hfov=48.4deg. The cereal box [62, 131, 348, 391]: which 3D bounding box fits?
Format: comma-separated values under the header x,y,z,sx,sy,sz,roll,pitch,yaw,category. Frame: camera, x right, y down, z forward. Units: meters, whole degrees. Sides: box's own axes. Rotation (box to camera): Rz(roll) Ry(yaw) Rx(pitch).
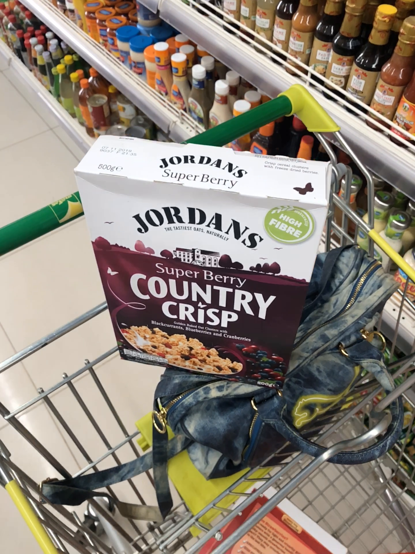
x,y,z,sx,sy,sz,roll,pitch,yaw,category
-0.002,0.004,0.388,0.180,0.229,0.050,8,48,5,cereal box
